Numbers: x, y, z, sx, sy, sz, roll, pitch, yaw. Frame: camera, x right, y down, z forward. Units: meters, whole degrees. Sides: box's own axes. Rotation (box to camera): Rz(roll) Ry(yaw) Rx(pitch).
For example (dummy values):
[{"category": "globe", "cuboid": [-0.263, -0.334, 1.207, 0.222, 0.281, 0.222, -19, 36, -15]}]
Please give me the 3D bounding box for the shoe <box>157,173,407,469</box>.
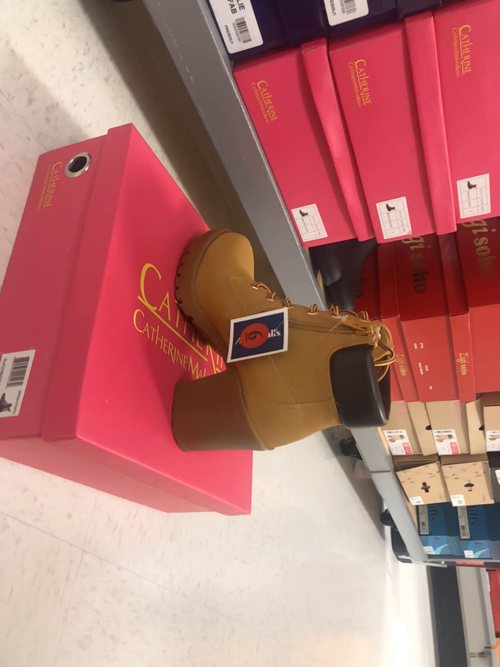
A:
[{"category": "shoe", "cuboid": [0.031, -0.010, 0.470, 0.085, 0.169, 0.217, 55, 32, -53]}]
